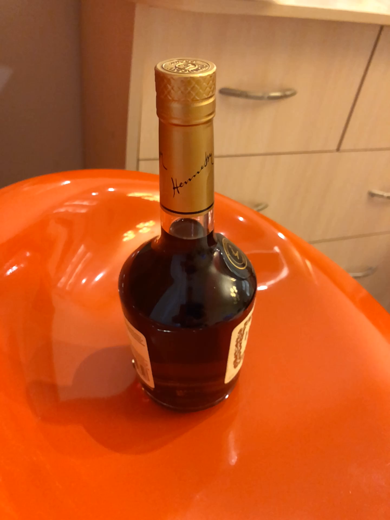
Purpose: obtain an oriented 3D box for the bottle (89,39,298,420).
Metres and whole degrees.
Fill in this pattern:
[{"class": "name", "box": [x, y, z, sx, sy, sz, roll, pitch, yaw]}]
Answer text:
[{"class": "bottle", "box": [-0.003, -0.003, 0.264, 0.079, 0.218, 0.079, 2, 39, -1]}]
